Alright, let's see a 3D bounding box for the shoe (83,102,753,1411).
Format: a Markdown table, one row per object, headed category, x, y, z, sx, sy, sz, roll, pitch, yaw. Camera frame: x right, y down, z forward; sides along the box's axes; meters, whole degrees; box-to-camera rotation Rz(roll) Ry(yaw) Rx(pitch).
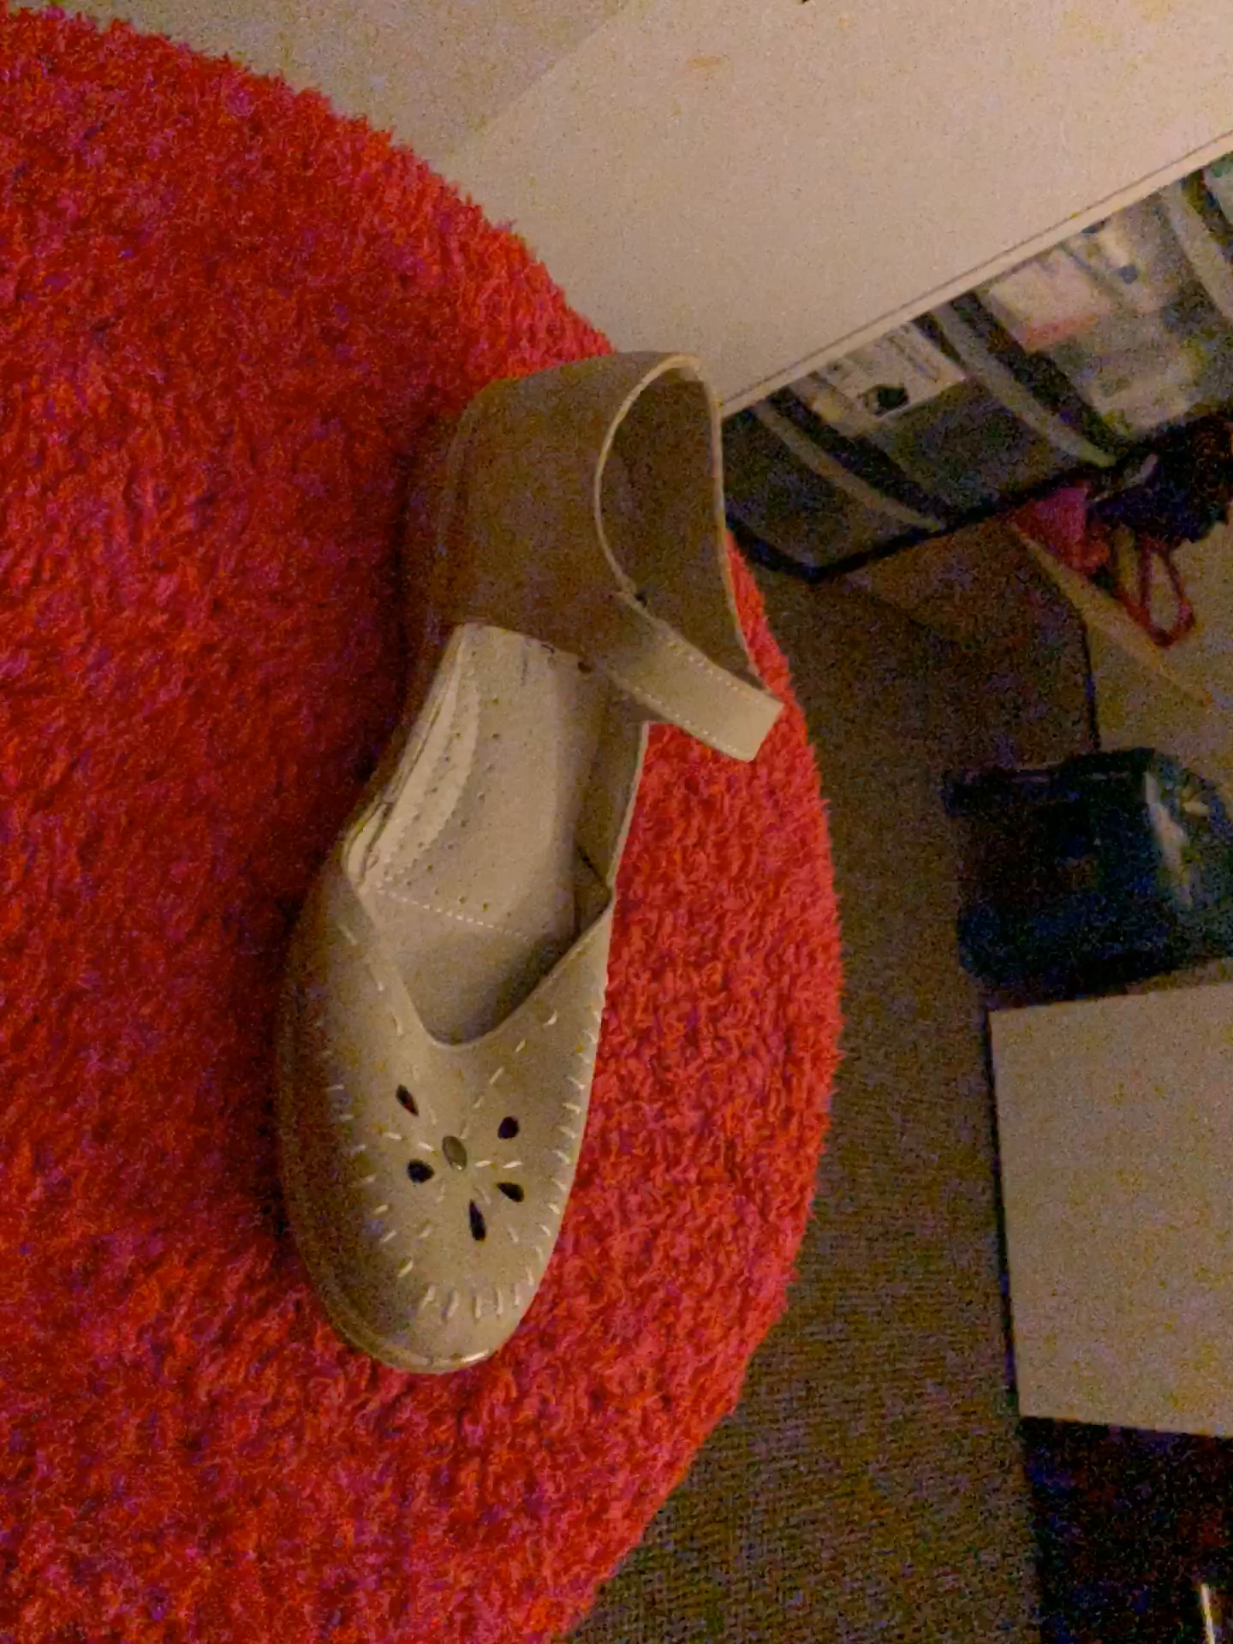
| category | x | y | z | sx | sy | sz | roll | pitch | yaw |
| --- | --- | --- | --- | --- | --- | --- | --- | --- | --- |
| shoe | -0.033 | -0.023 | 0.325 | 0.096 | 0.079 | 0.307 | 27 | 58 | -39 |
